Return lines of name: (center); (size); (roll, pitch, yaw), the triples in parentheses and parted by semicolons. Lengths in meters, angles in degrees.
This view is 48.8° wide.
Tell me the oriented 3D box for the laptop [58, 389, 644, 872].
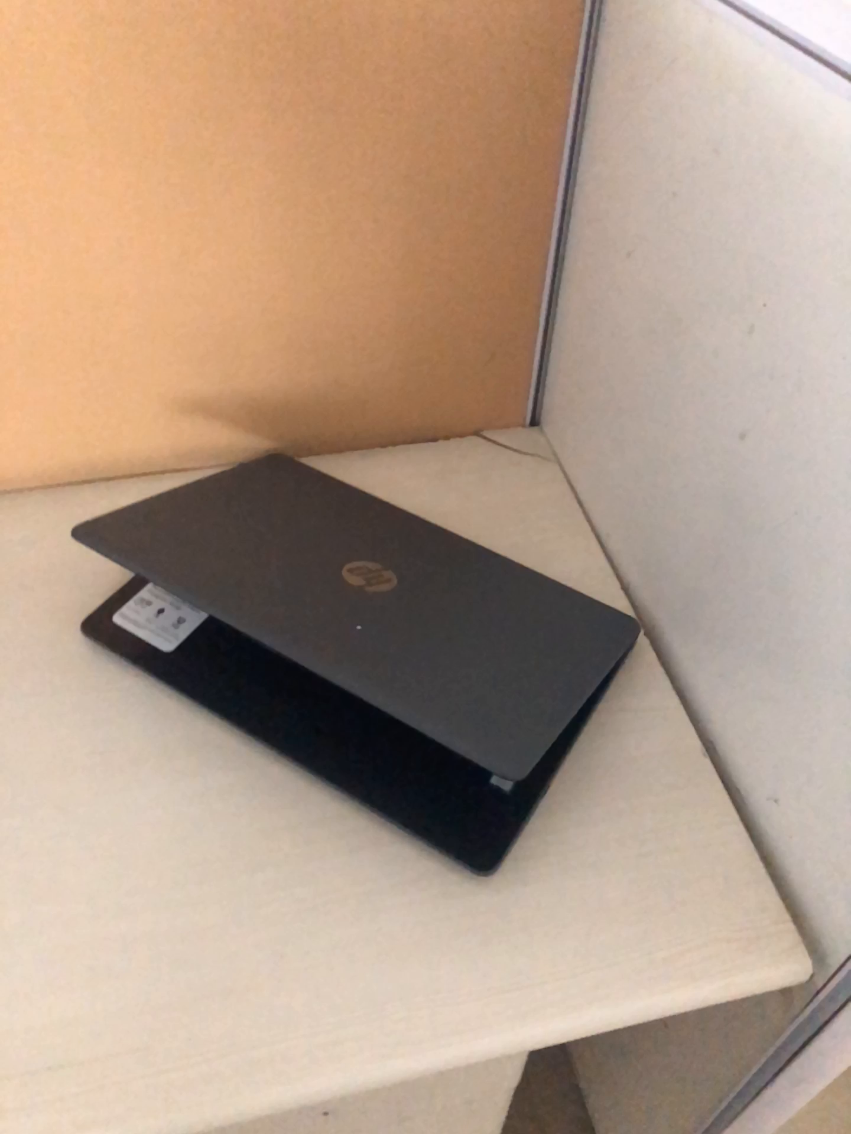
laptop: (-0.055, 0.021, 0.711); (0.362, 0.074, 0.238); (26, 53, 21)
